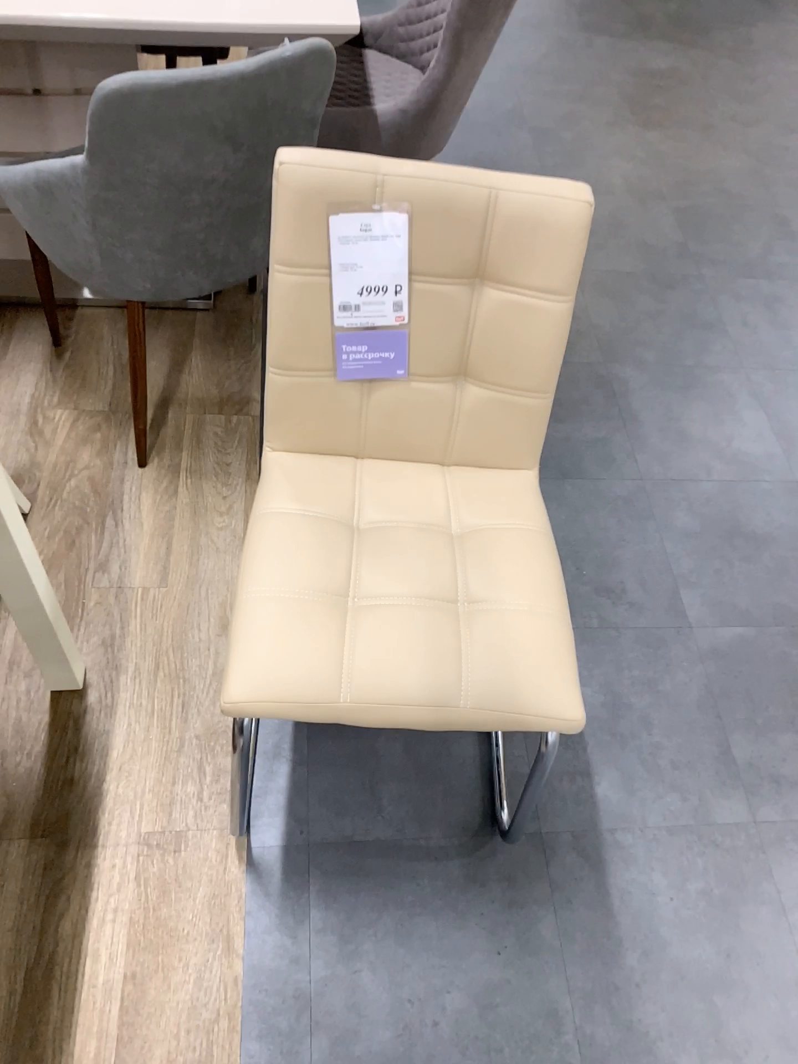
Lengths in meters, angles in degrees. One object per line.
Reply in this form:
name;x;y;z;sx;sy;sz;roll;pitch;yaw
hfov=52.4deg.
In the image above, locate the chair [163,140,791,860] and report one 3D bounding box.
chair;0.028;0.020;1.194;0.530;0.817;0.652;4;53;-5
